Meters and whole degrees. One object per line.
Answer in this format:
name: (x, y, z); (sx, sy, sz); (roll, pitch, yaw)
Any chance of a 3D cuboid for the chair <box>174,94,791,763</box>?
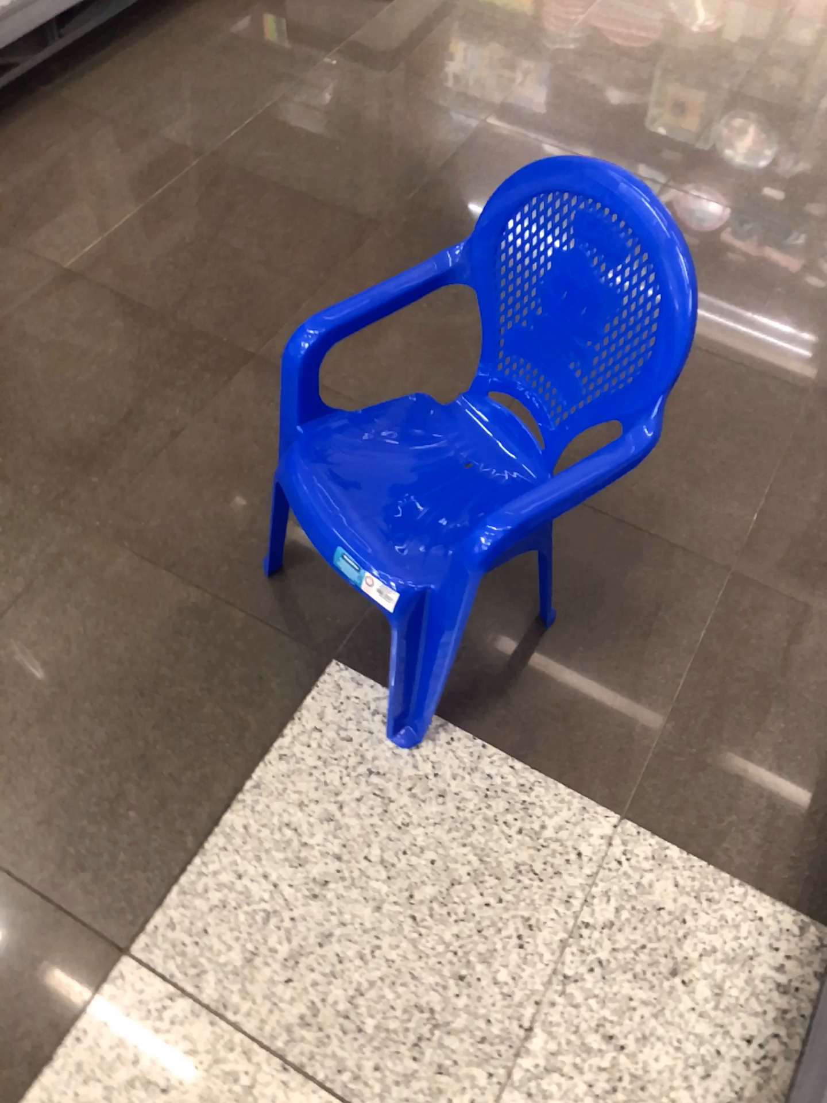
chair: (0.046, -0.112, 0.986); (0.401, 0.507, 0.351); (-28, 61, -20)
